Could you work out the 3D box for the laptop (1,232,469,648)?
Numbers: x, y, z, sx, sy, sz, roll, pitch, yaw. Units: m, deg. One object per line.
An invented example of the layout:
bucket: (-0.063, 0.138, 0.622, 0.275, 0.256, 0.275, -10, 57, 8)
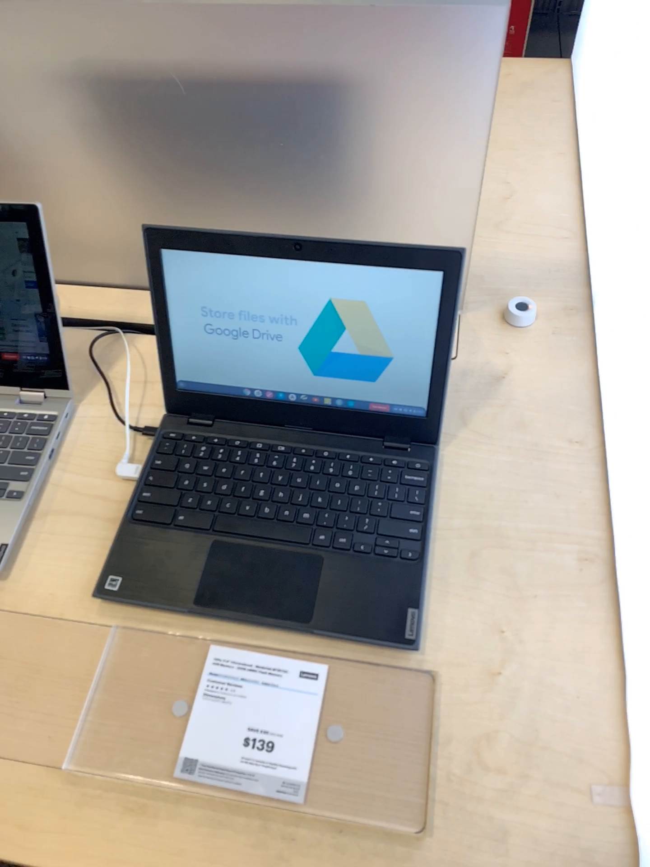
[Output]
laptop: (-0.043, -0.003, 0.545, 0.275, 0.171, 0.266, 7, 56, 10)
